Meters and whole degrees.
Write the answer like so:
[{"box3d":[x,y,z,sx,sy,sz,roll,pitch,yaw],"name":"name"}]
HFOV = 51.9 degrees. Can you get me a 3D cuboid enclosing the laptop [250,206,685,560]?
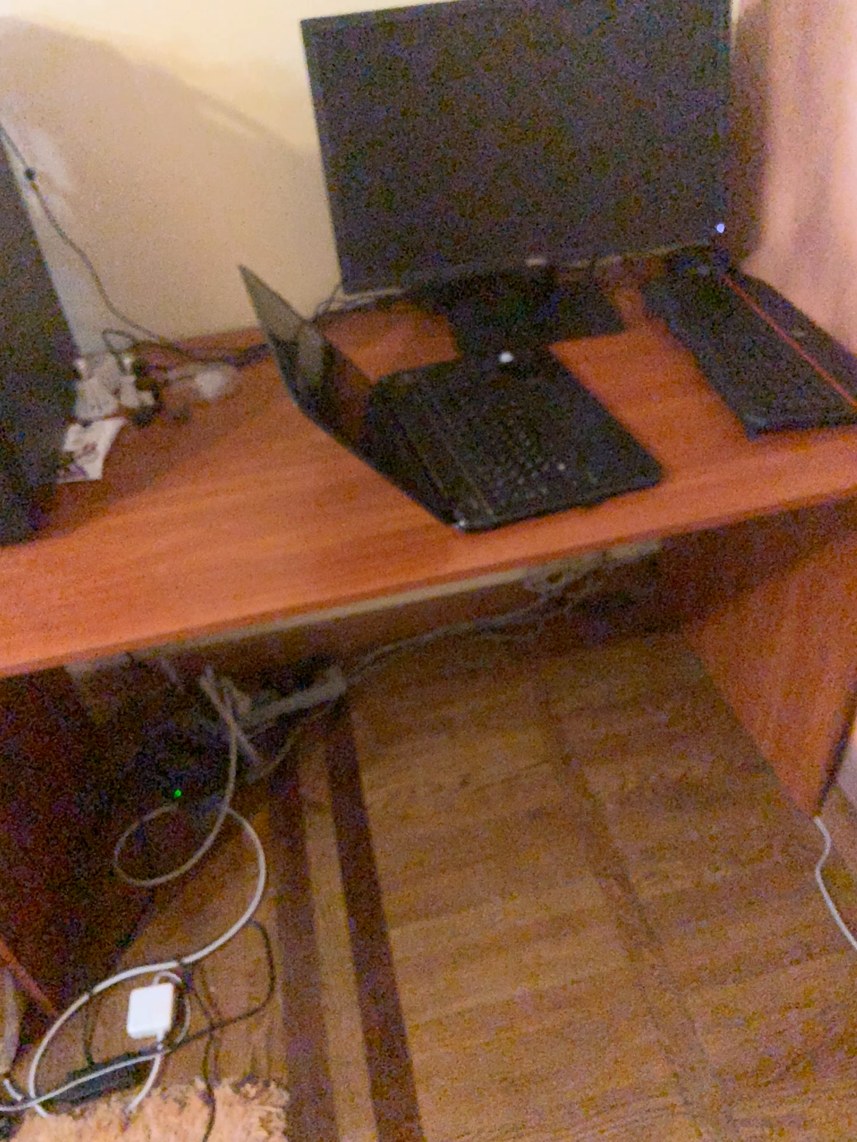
[{"box3d":[0.022,-0.237,1.008,0.368,0.181,0.367,-15,40,-8],"name":"laptop"}]
